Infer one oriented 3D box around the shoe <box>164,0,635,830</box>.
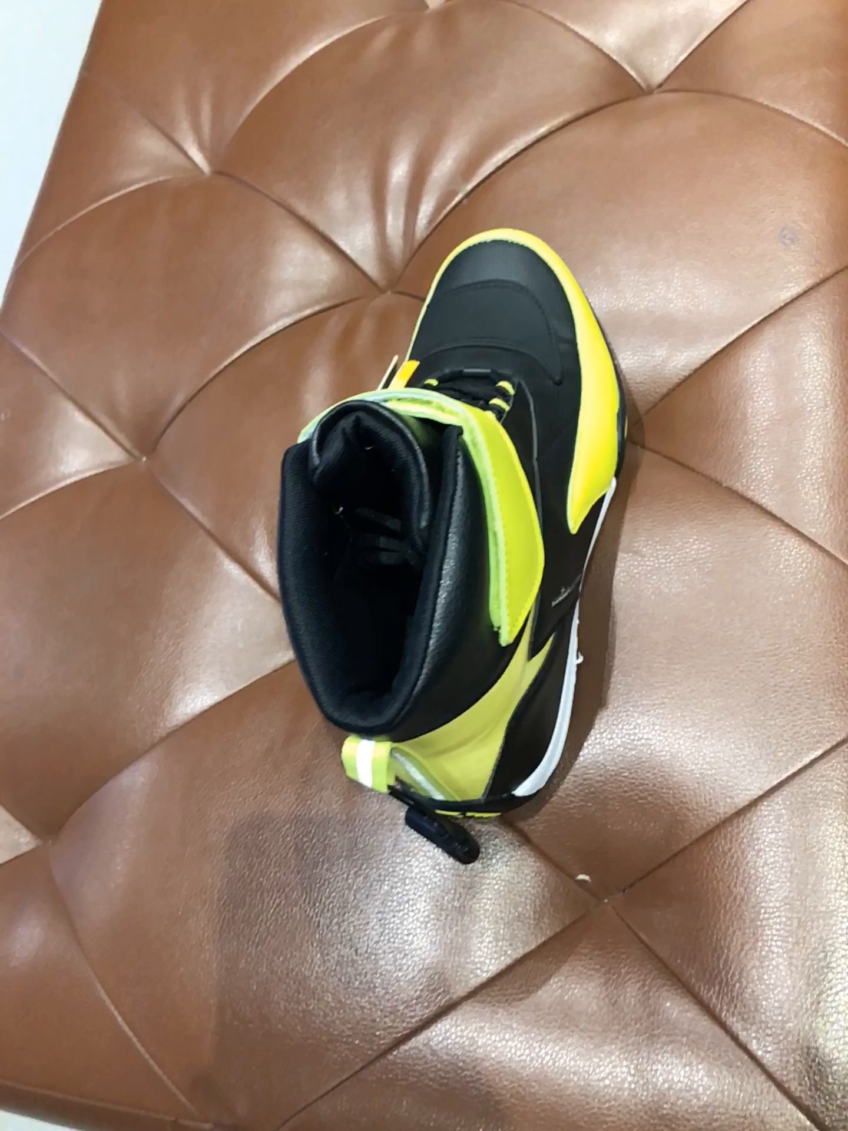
[{"bbox_3d":[0.017,-0.047,0.382,0.116,0.173,0.274,-2,68,18],"label":"shoe"}]
